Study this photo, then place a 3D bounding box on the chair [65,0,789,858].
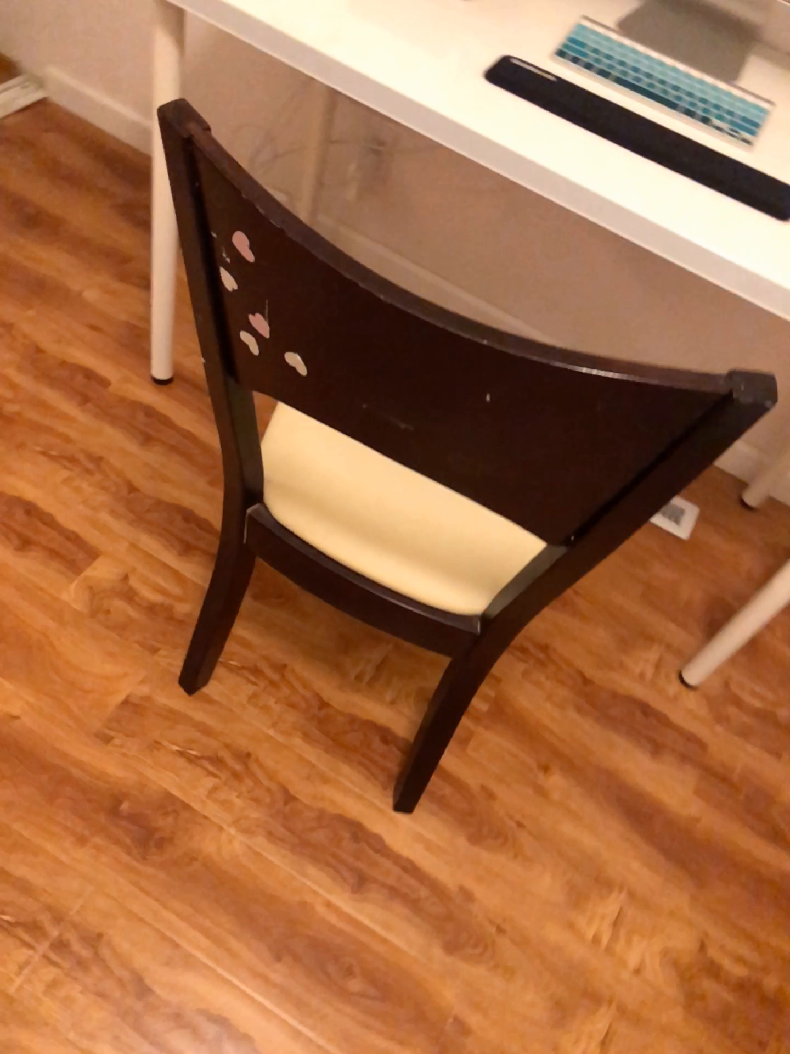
[{"bbox_3d":[0.051,-0.089,0.998,0.530,0.846,0.512,26,54,4],"label":"chair"}]
